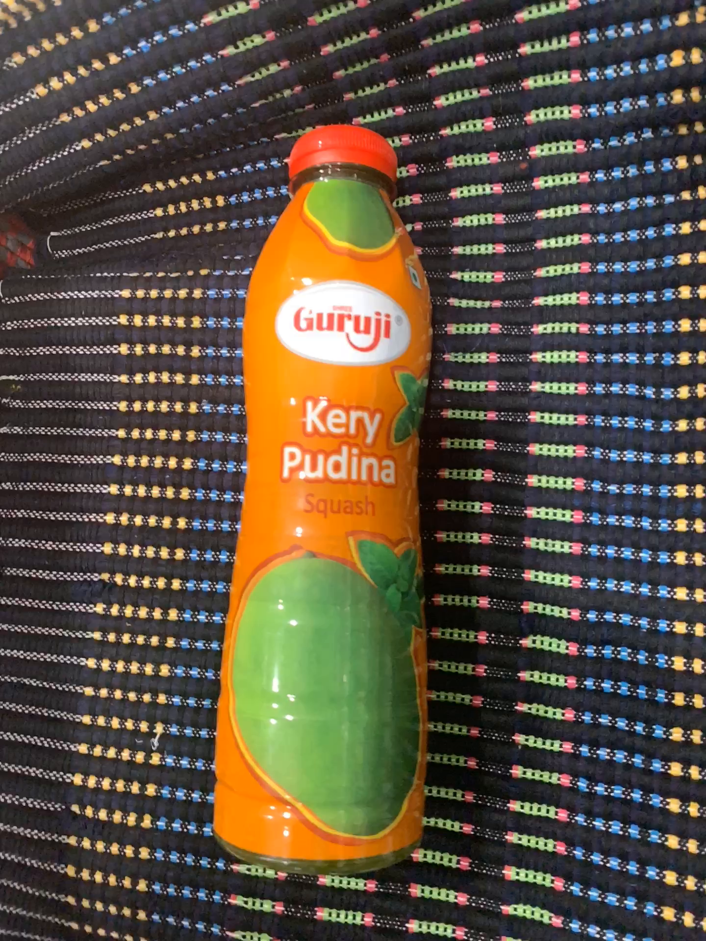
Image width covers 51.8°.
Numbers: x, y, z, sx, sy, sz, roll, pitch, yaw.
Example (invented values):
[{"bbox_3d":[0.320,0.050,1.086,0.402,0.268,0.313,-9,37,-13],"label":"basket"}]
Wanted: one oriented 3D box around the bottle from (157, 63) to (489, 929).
[{"bbox_3d":[-0.008,0.004,0.239,0.070,0.070,0.230,9,80,-33],"label":"bottle"}]
